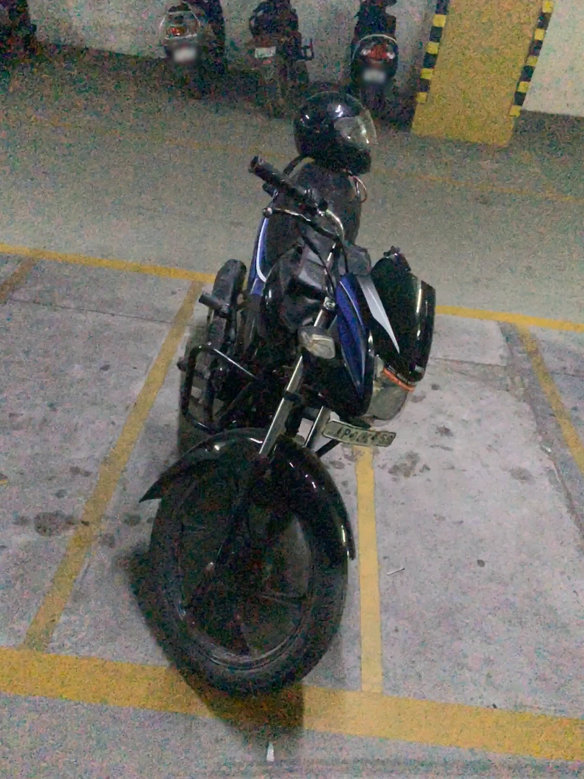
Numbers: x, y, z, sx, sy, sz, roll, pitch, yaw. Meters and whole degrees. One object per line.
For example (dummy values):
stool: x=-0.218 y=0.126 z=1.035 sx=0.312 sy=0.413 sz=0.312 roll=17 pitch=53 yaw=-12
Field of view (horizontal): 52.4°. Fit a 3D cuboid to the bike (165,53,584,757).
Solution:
bike: x=0.110 y=-0.119 z=1.832 sx=0.767 sy=1.156 sz=1.725 roll=4 pitch=40 yaw=-5
